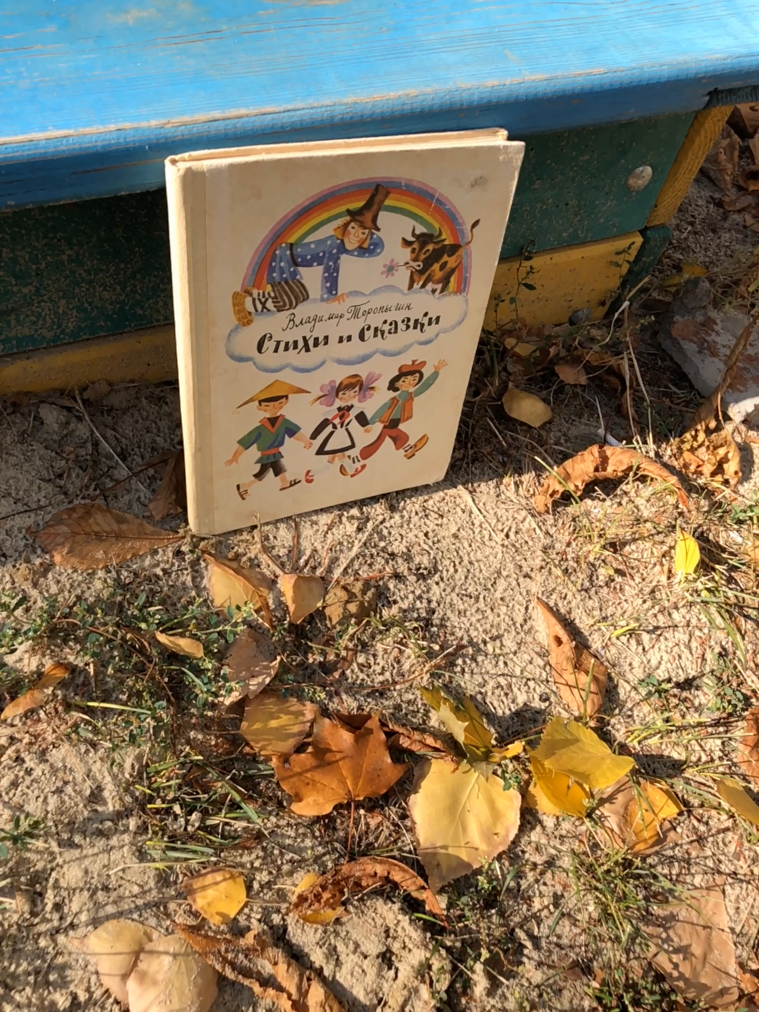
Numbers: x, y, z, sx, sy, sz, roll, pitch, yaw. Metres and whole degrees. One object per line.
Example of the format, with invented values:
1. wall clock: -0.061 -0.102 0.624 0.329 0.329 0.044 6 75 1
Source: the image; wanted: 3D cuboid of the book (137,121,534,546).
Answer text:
1. book: -0.023 -0.082 0.439 0.178 0.213 0.024 -14 47 -20
